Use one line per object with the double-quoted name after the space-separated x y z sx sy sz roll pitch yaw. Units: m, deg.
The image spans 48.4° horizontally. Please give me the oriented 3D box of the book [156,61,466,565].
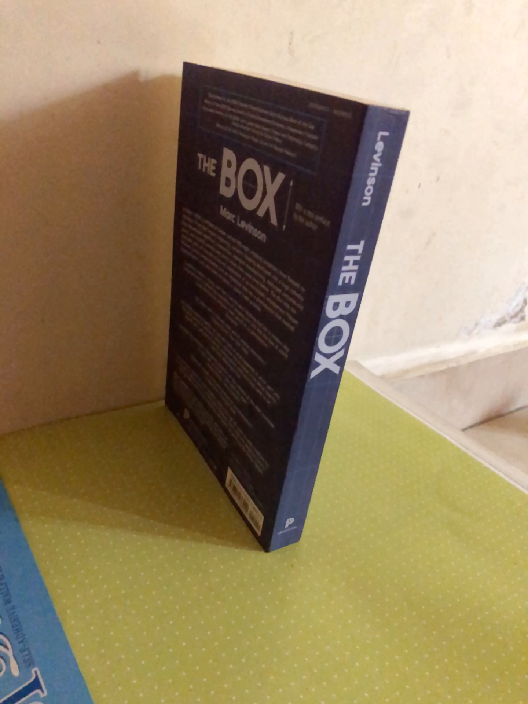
-0.001 -0.034 0.329 0.050 0.219 0.181 -5 28 -28 "book"
